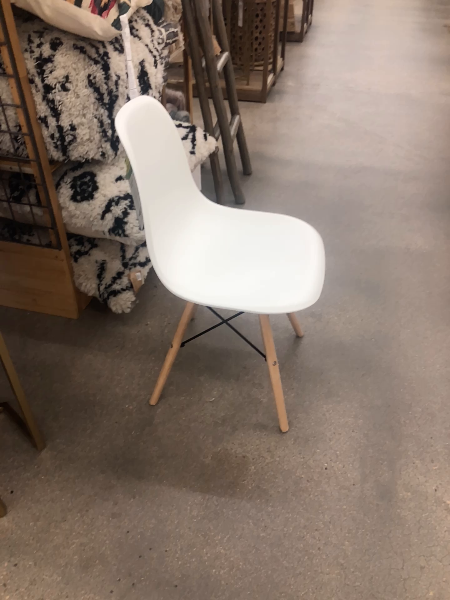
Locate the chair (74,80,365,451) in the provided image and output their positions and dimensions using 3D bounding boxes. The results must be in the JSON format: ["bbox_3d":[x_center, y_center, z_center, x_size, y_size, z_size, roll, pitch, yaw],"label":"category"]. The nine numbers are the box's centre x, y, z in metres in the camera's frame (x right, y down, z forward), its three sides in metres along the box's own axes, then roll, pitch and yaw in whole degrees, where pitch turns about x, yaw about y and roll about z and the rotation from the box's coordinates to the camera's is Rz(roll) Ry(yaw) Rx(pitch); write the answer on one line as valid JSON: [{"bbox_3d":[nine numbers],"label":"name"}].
[{"bbox_3d":[0.023,-0.076,1.307,0.530,0.806,0.442,9,40,11],"label":"chair"}]
